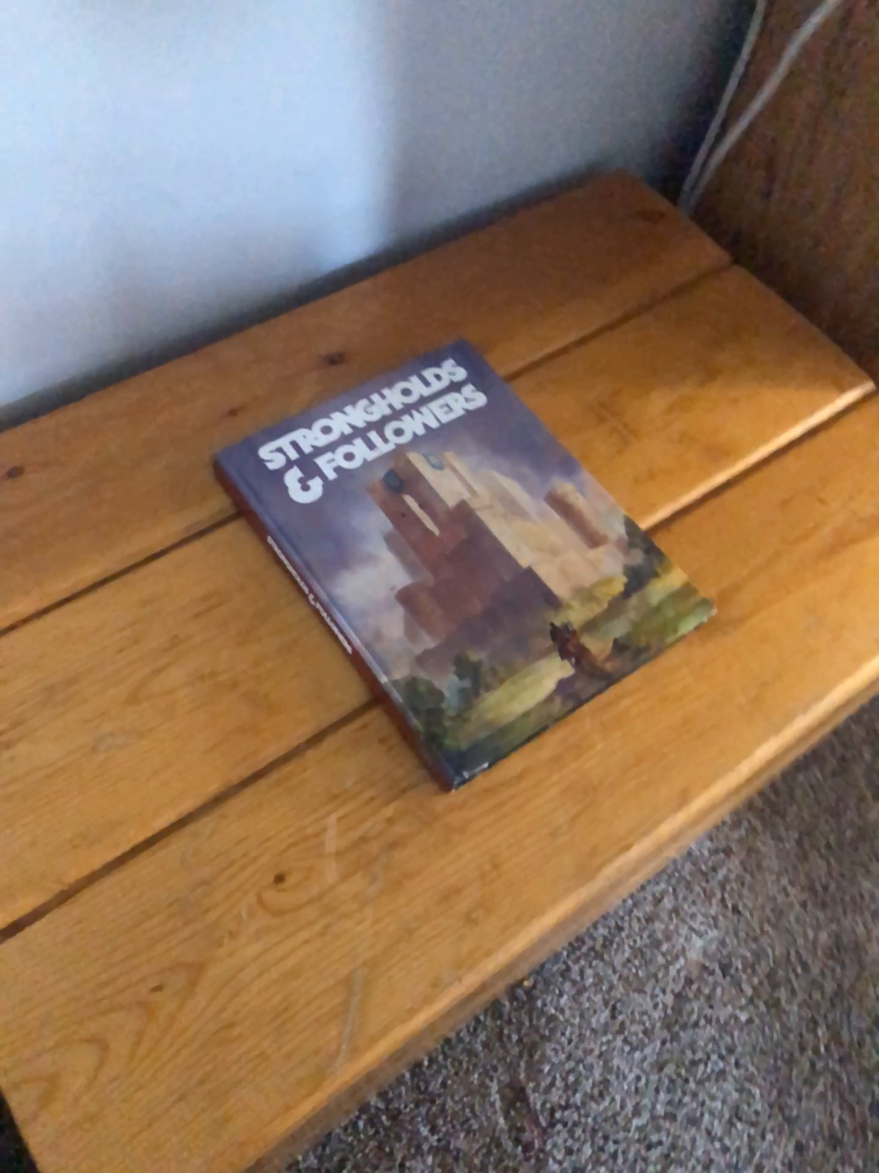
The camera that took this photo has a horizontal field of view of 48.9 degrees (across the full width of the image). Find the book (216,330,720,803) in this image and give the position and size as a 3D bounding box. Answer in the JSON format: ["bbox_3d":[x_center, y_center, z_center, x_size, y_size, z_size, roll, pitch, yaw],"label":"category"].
[{"bbox_3d":[0.014,-0.031,0.662,0.213,0.042,0.281,-30,67,-21],"label":"book"}]
